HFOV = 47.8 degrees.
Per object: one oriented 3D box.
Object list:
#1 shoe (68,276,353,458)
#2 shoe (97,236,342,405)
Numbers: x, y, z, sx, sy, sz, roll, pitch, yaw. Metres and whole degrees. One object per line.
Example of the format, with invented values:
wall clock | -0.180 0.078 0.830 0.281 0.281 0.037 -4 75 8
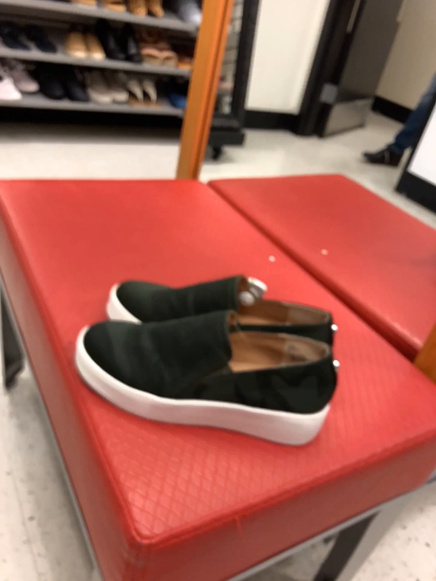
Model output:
shoe | -0.009 0.072 0.478 0.243 0.090 0.091 12 31 -1
shoe | 0.002 0.029 0.552 0.249 0.090 0.089 16 31 6
